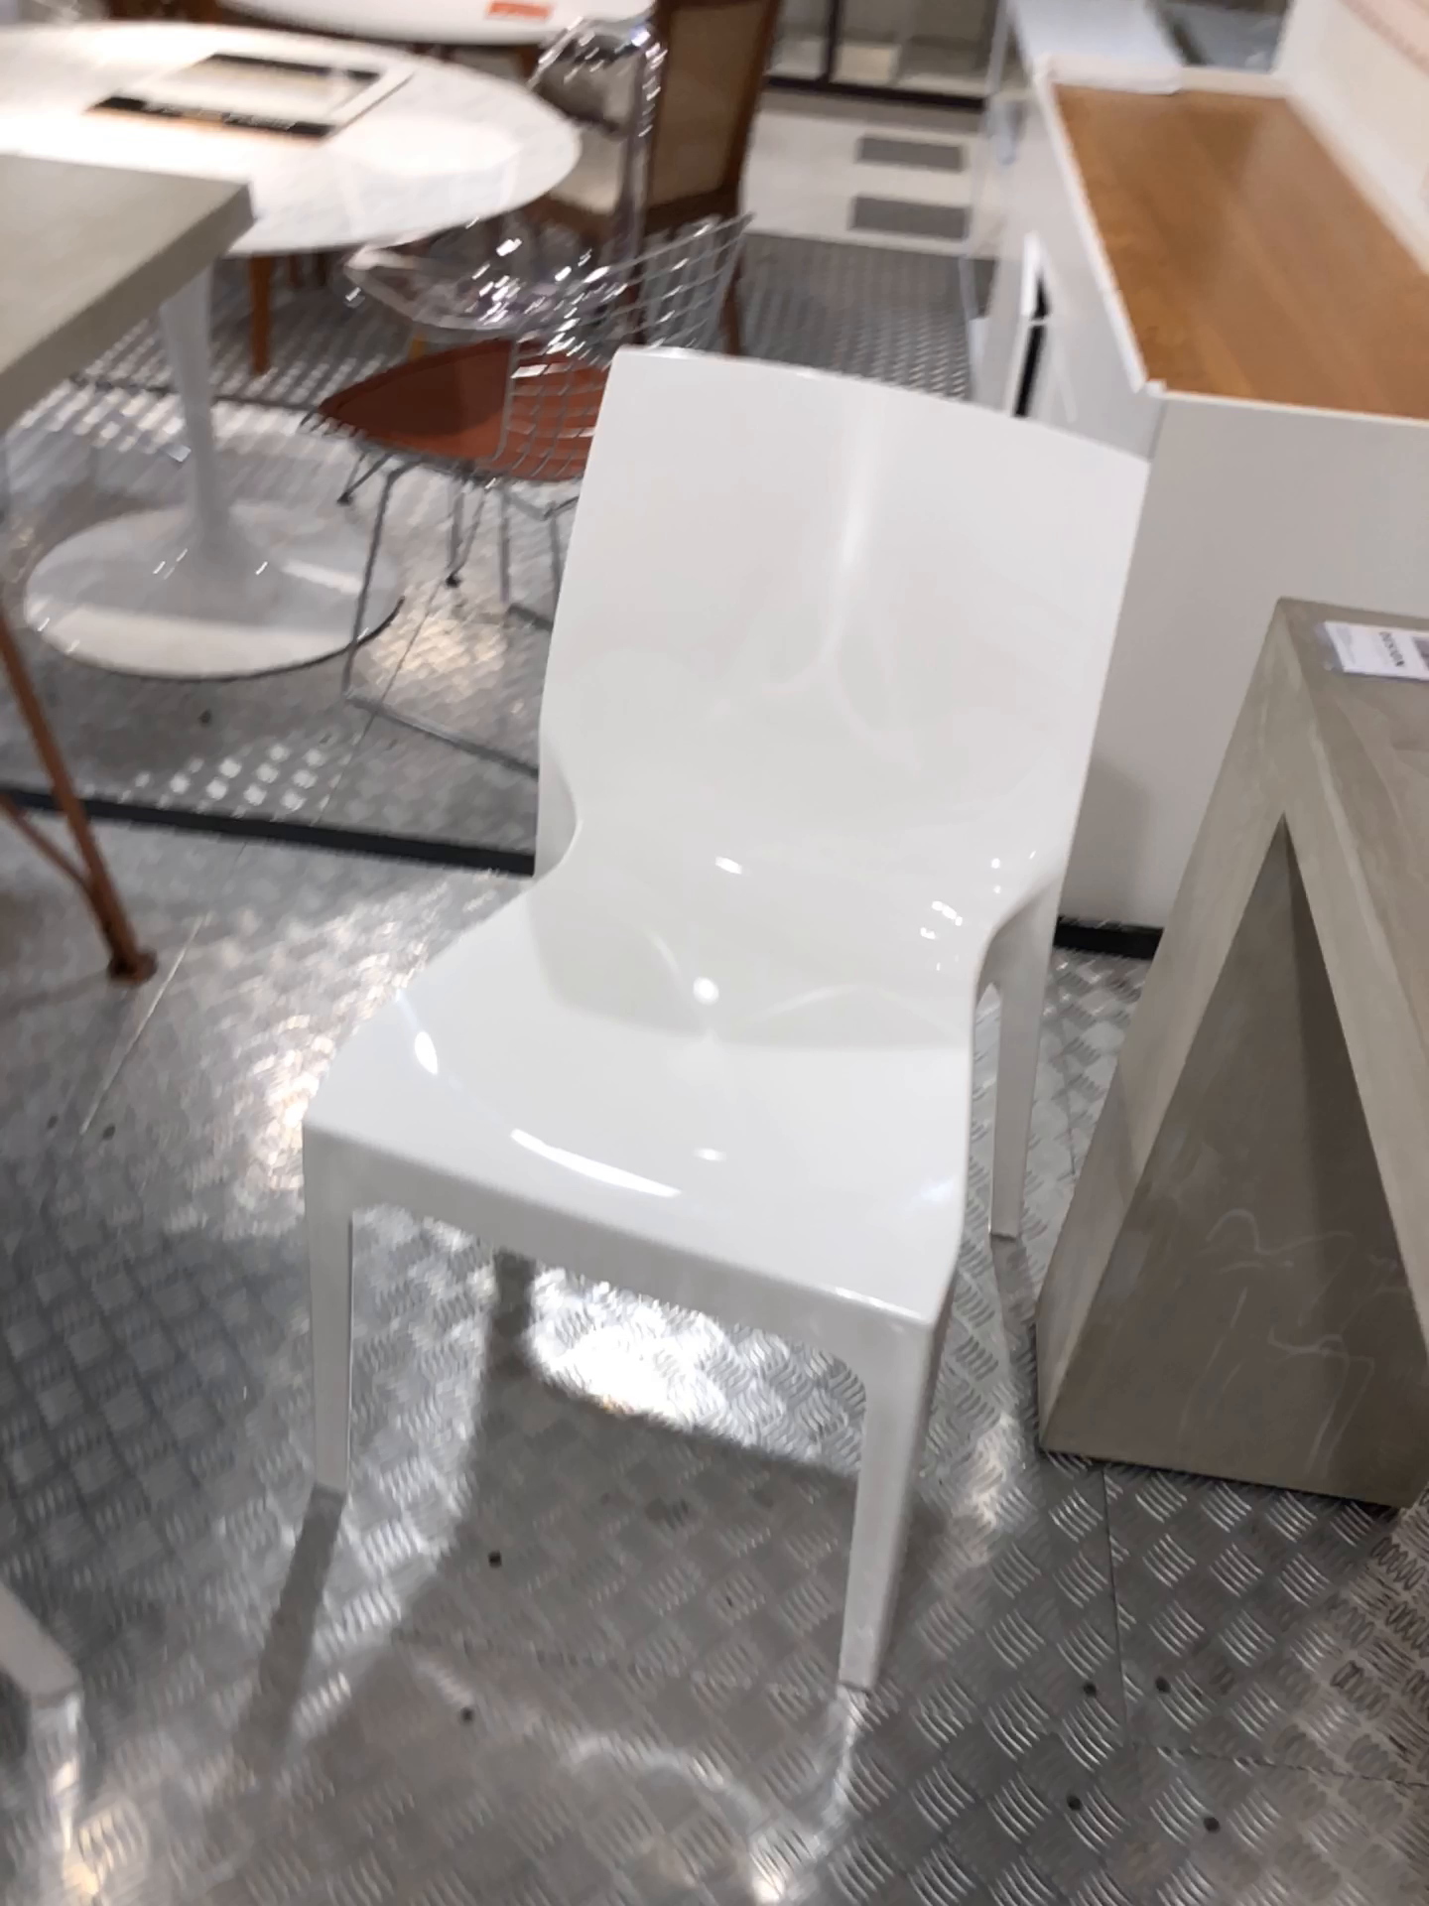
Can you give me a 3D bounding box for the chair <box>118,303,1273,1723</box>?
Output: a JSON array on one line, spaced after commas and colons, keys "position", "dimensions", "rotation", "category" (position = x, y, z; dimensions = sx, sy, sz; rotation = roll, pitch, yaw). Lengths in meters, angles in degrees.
[{"position": [0.014, 0.041, 1.151], "dimensions": [0.520, 0.764, 0.544], "rotation": [16, 41, 11], "category": "chair"}]
